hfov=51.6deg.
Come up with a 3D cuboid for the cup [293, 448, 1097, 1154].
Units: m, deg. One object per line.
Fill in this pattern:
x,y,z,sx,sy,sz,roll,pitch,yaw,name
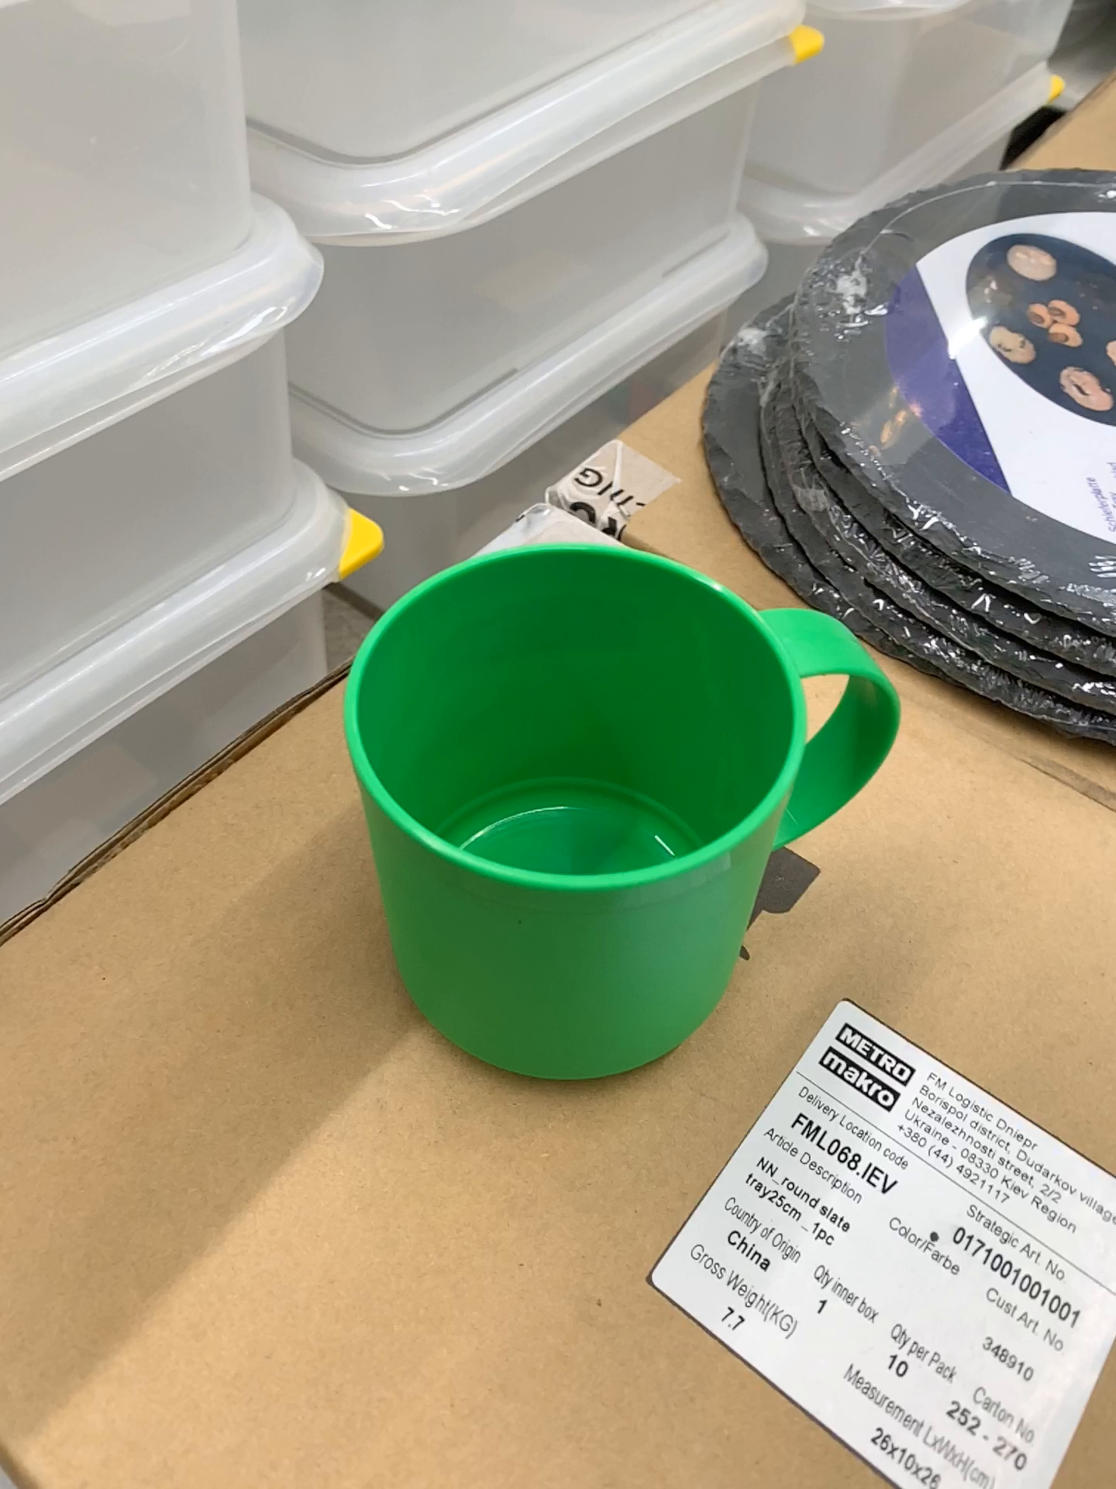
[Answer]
0.018,0.008,0.210,0.105,0.069,0.076,-16,52,-14,cup
